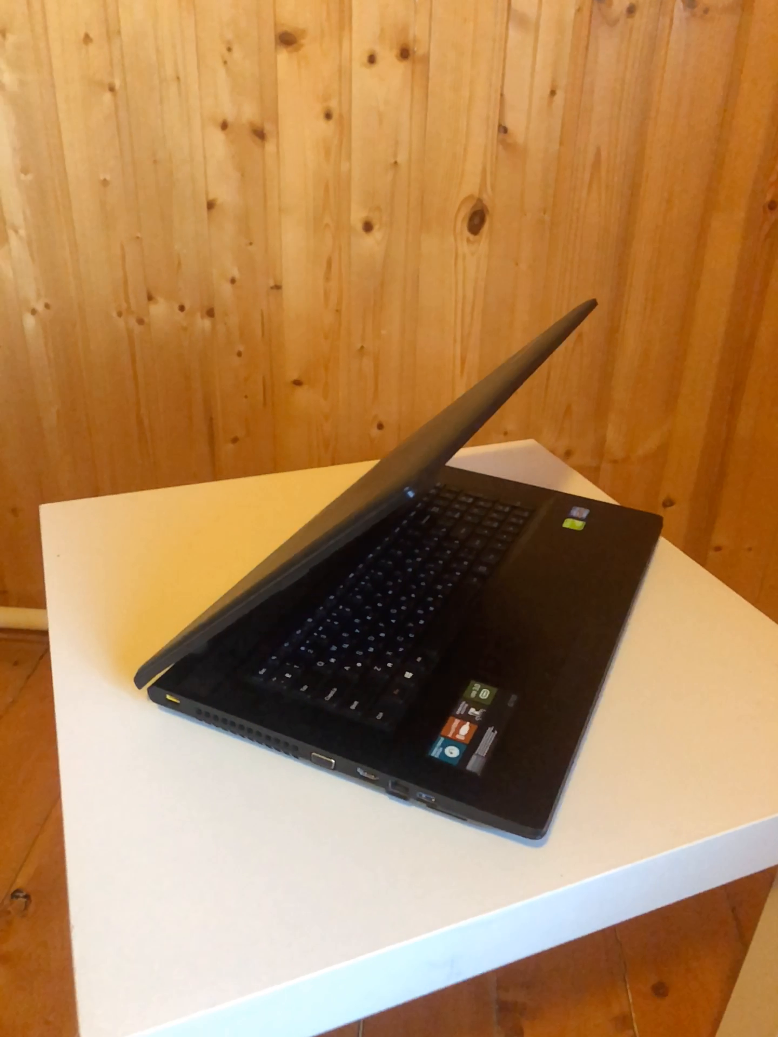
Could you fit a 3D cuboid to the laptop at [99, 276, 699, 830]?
[{"bbox_3d":[0.045,-0.030,0.638,0.271,0.184,0.412,14,31,21],"label":"laptop"}]
